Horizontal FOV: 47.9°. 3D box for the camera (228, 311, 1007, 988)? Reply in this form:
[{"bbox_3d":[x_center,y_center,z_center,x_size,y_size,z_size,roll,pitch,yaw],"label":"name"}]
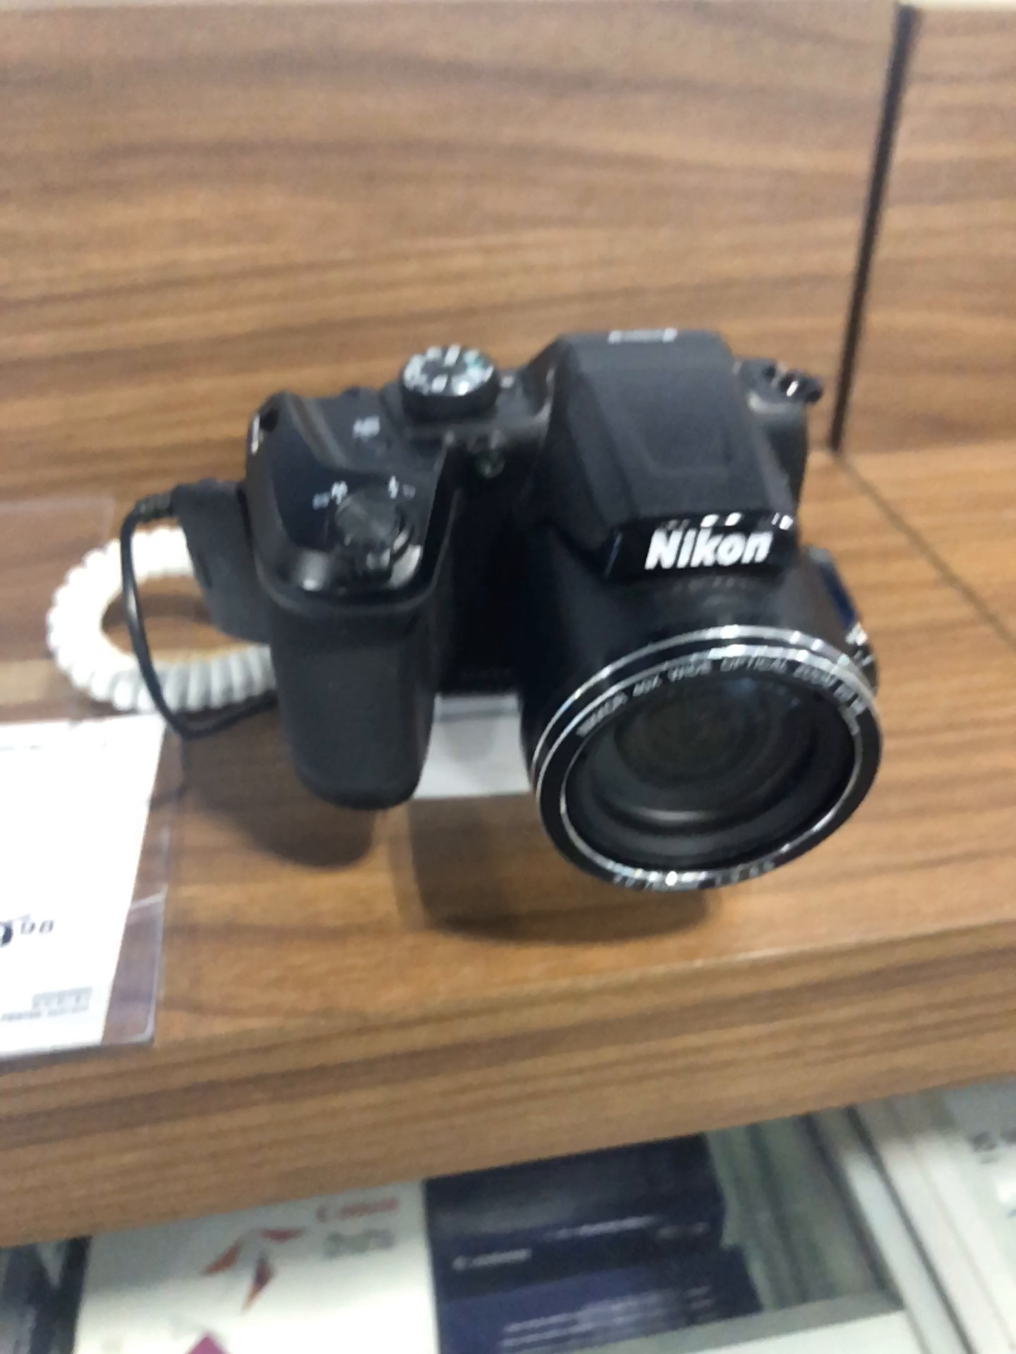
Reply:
[{"bbox_3d":[0.009,-0.013,0.218,0.110,0.079,0.096,-6,35,-8],"label":"camera"}]
